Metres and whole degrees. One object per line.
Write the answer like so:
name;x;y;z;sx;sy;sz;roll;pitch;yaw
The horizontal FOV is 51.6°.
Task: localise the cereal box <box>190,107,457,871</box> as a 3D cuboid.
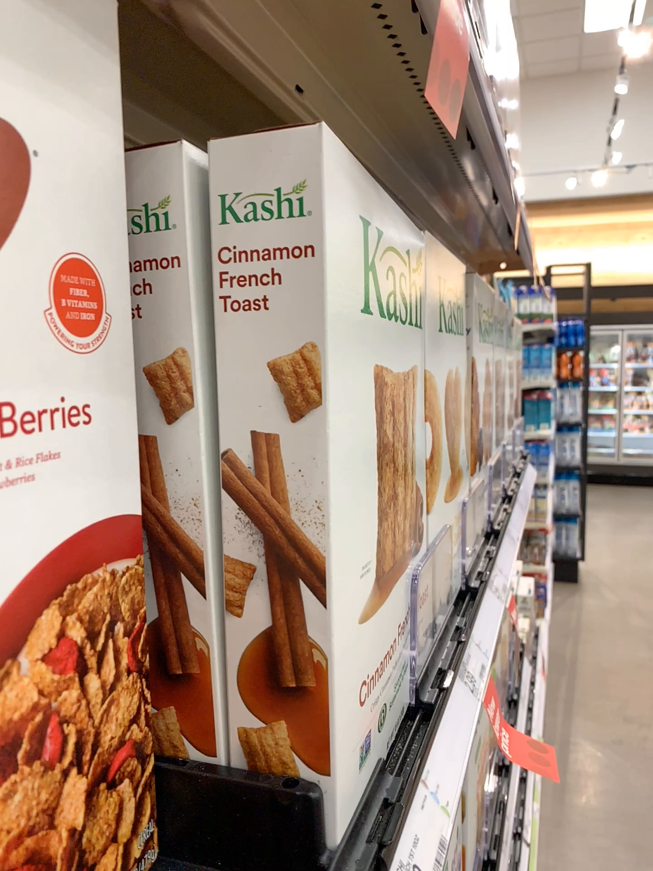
cereal box;0.018;0.015;0.344;0.060;0.270;0.210;0;5;19
